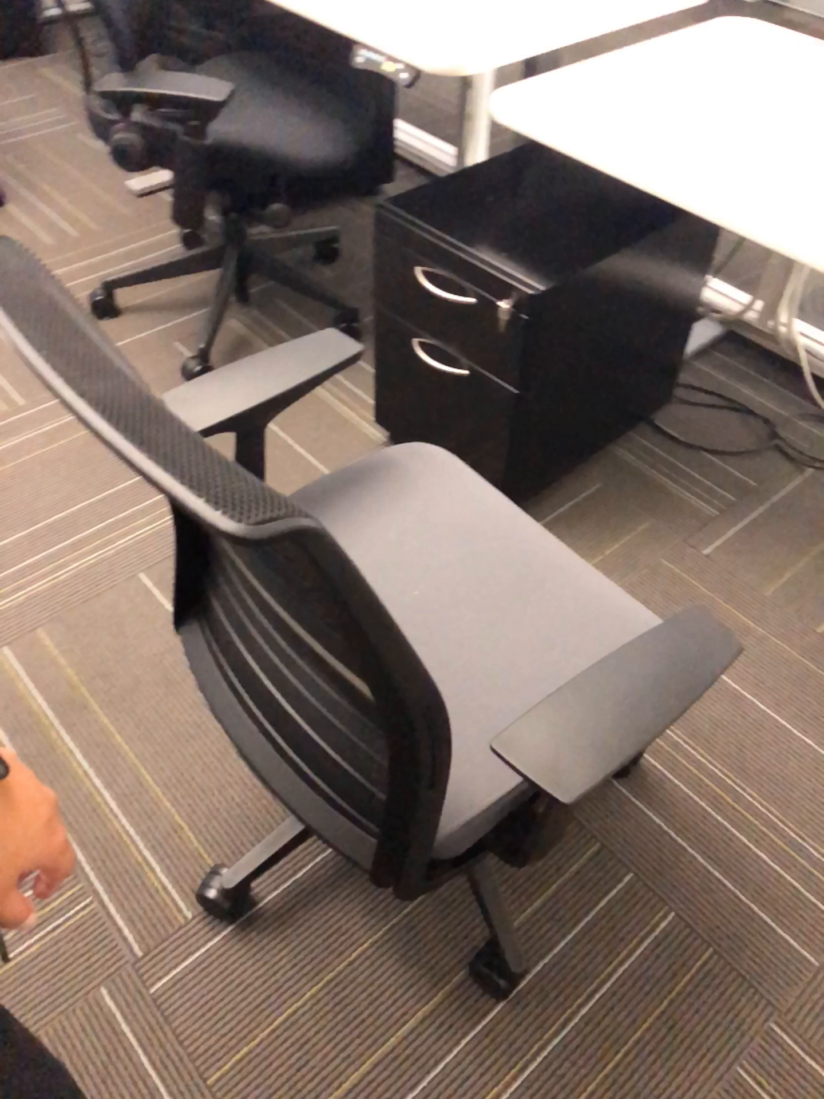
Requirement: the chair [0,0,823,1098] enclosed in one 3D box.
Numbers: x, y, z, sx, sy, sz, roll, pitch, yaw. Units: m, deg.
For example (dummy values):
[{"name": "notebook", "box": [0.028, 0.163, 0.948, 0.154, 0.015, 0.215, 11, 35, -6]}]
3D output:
[{"name": "chair", "box": [-0.016, 0.007, 1.060, 0.681, 0.906, 0.722, -32, 56, -29]}]
